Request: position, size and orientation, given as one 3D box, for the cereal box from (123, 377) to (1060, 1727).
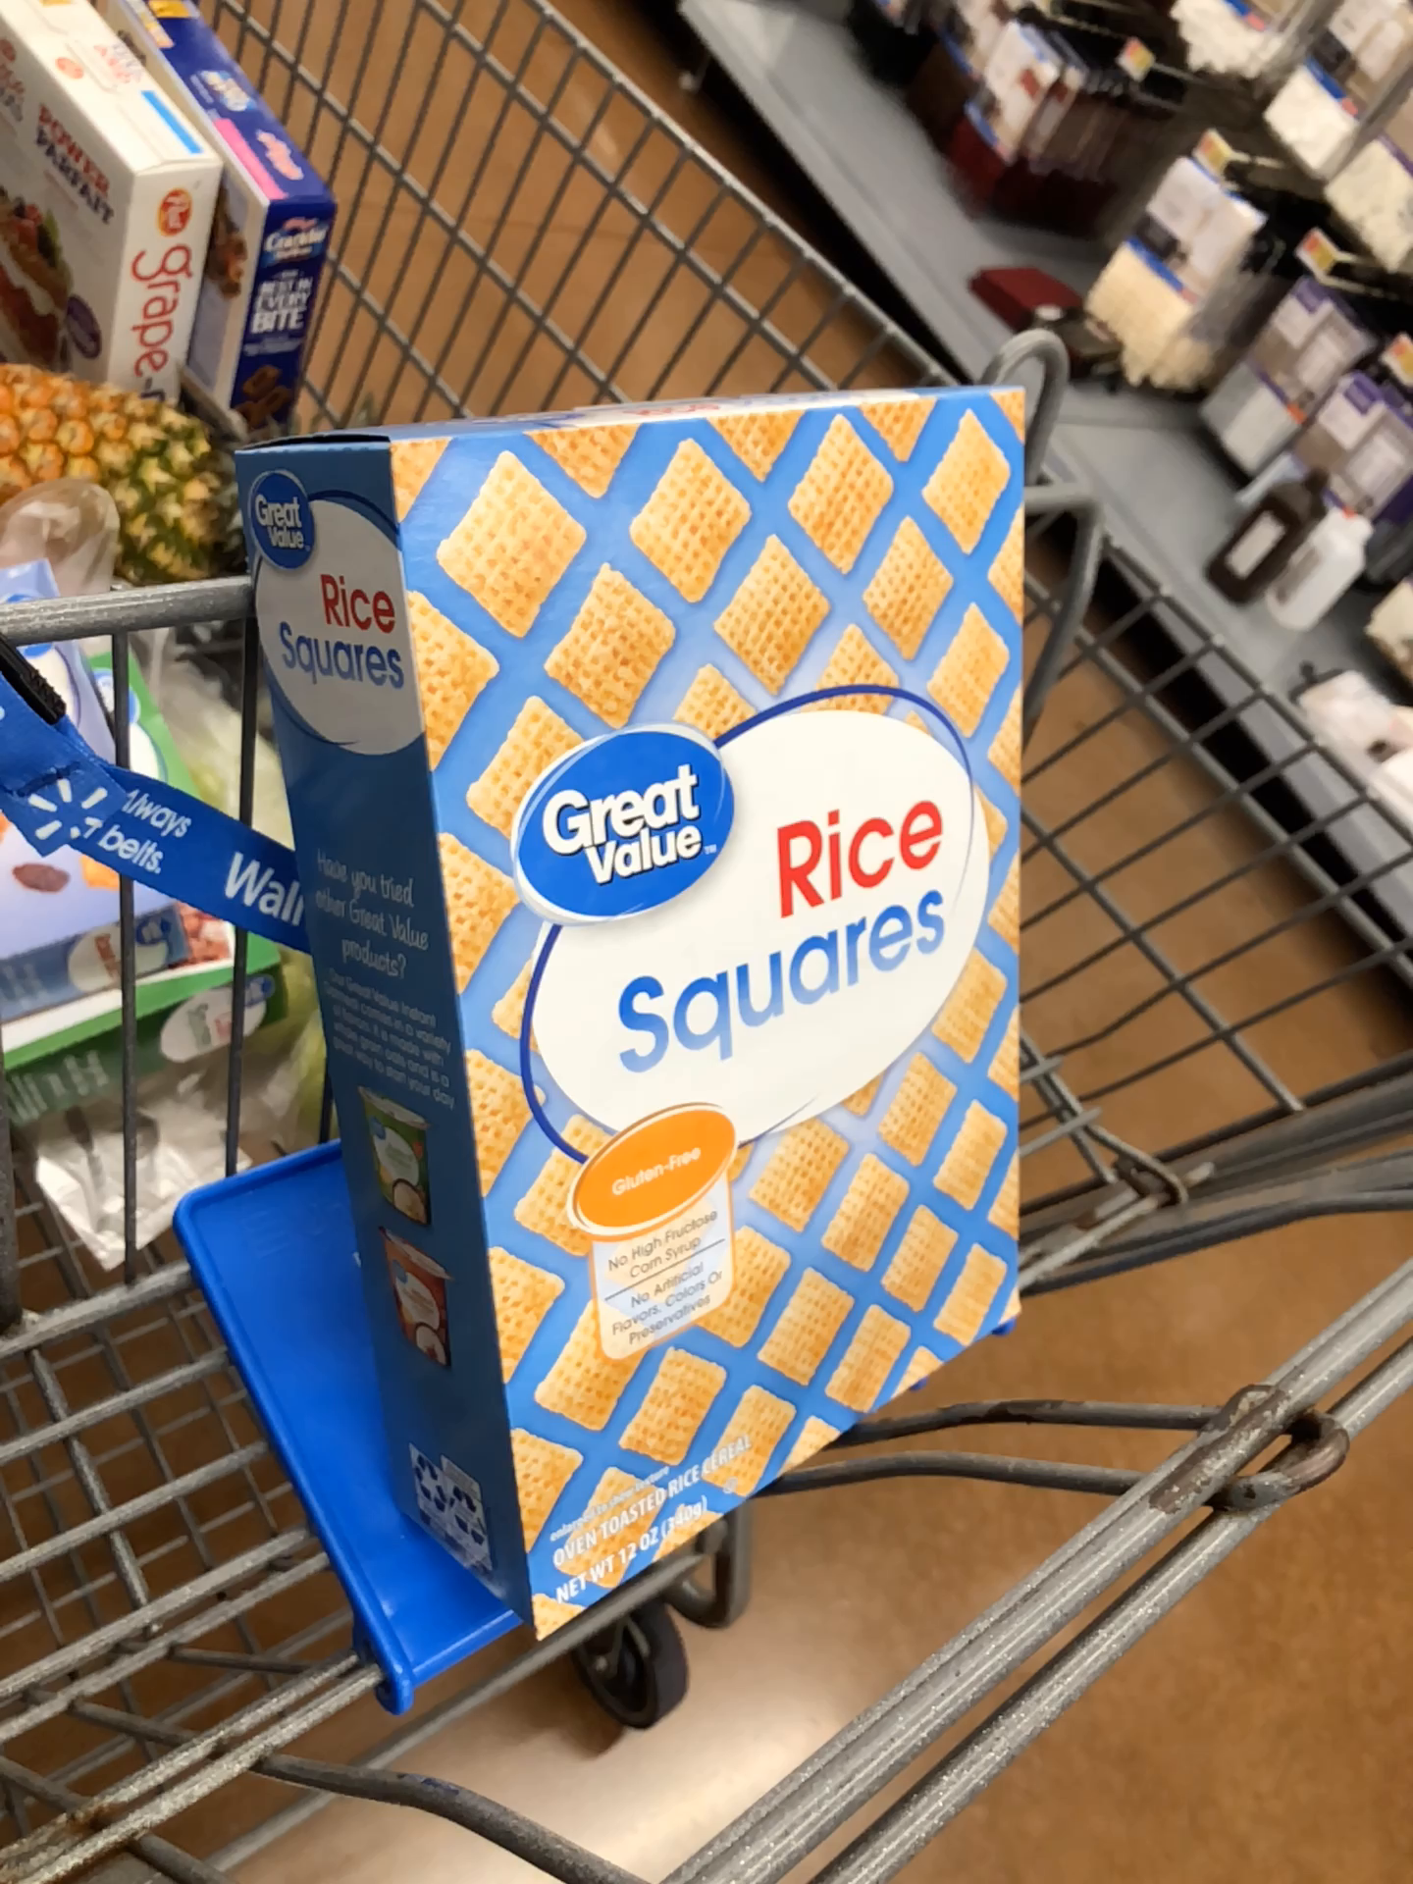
[{"bbox_3d":[-0.005,0.010,0.405,0.211,0.280,0.080,-20,24,-38],"label":"cereal box"}]
